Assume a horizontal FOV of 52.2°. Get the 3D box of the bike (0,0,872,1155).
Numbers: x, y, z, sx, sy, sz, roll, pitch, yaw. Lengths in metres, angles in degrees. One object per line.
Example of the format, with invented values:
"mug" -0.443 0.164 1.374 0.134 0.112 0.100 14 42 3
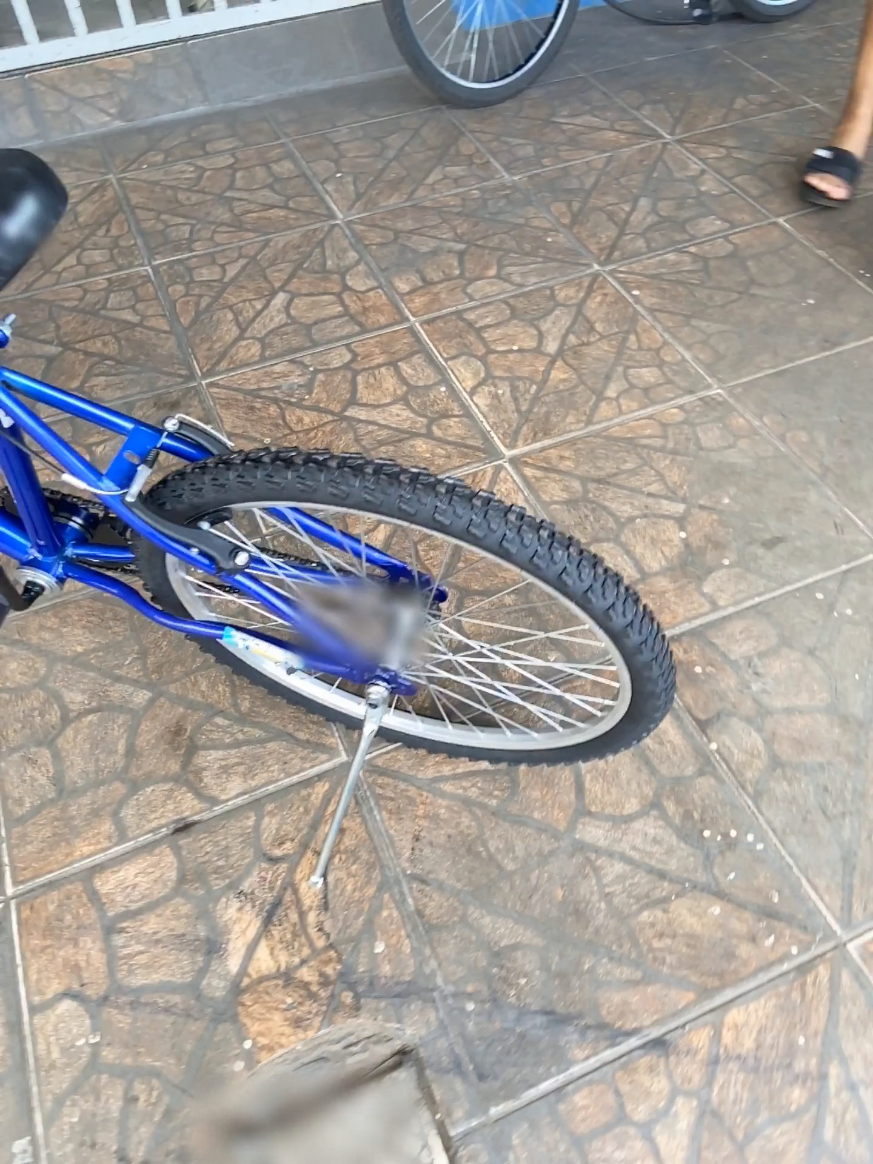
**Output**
"bike" -0.480 -0.182 0.912 1.487 0.924 0.625 15 51 13
